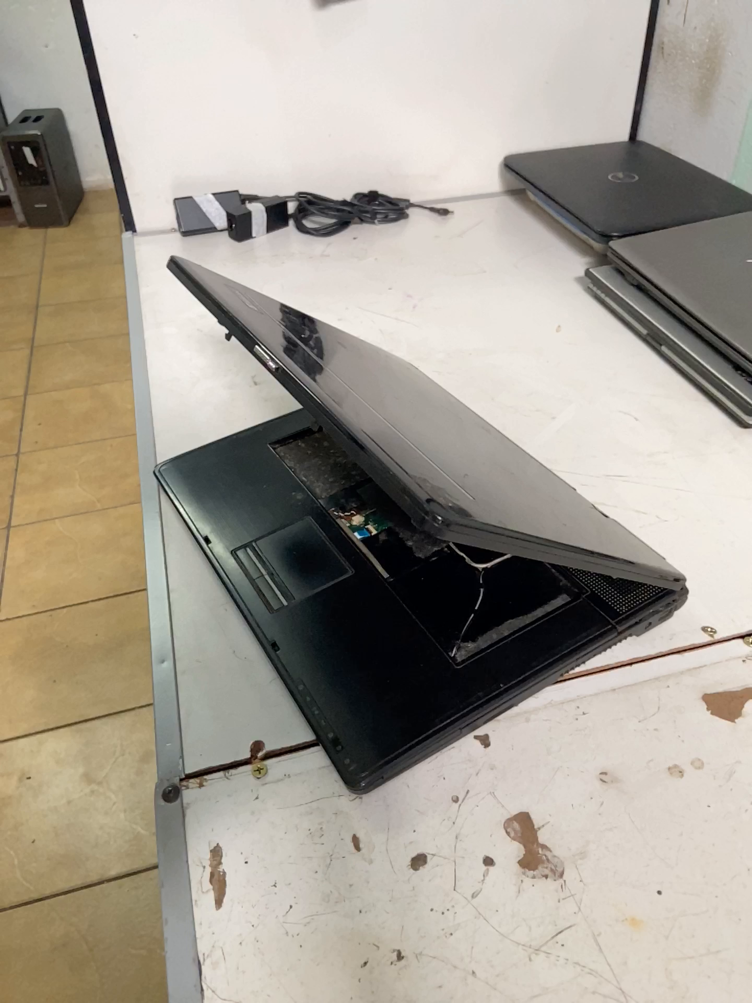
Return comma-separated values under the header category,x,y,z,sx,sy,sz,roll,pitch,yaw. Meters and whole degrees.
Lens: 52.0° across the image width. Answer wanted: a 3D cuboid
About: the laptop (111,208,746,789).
category,x,y,z,sx,sy,sz,roll,pitch,yaw
laptop,0.007,-0.045,0.549,0.260,0.164,0.349,-23,44,-21
